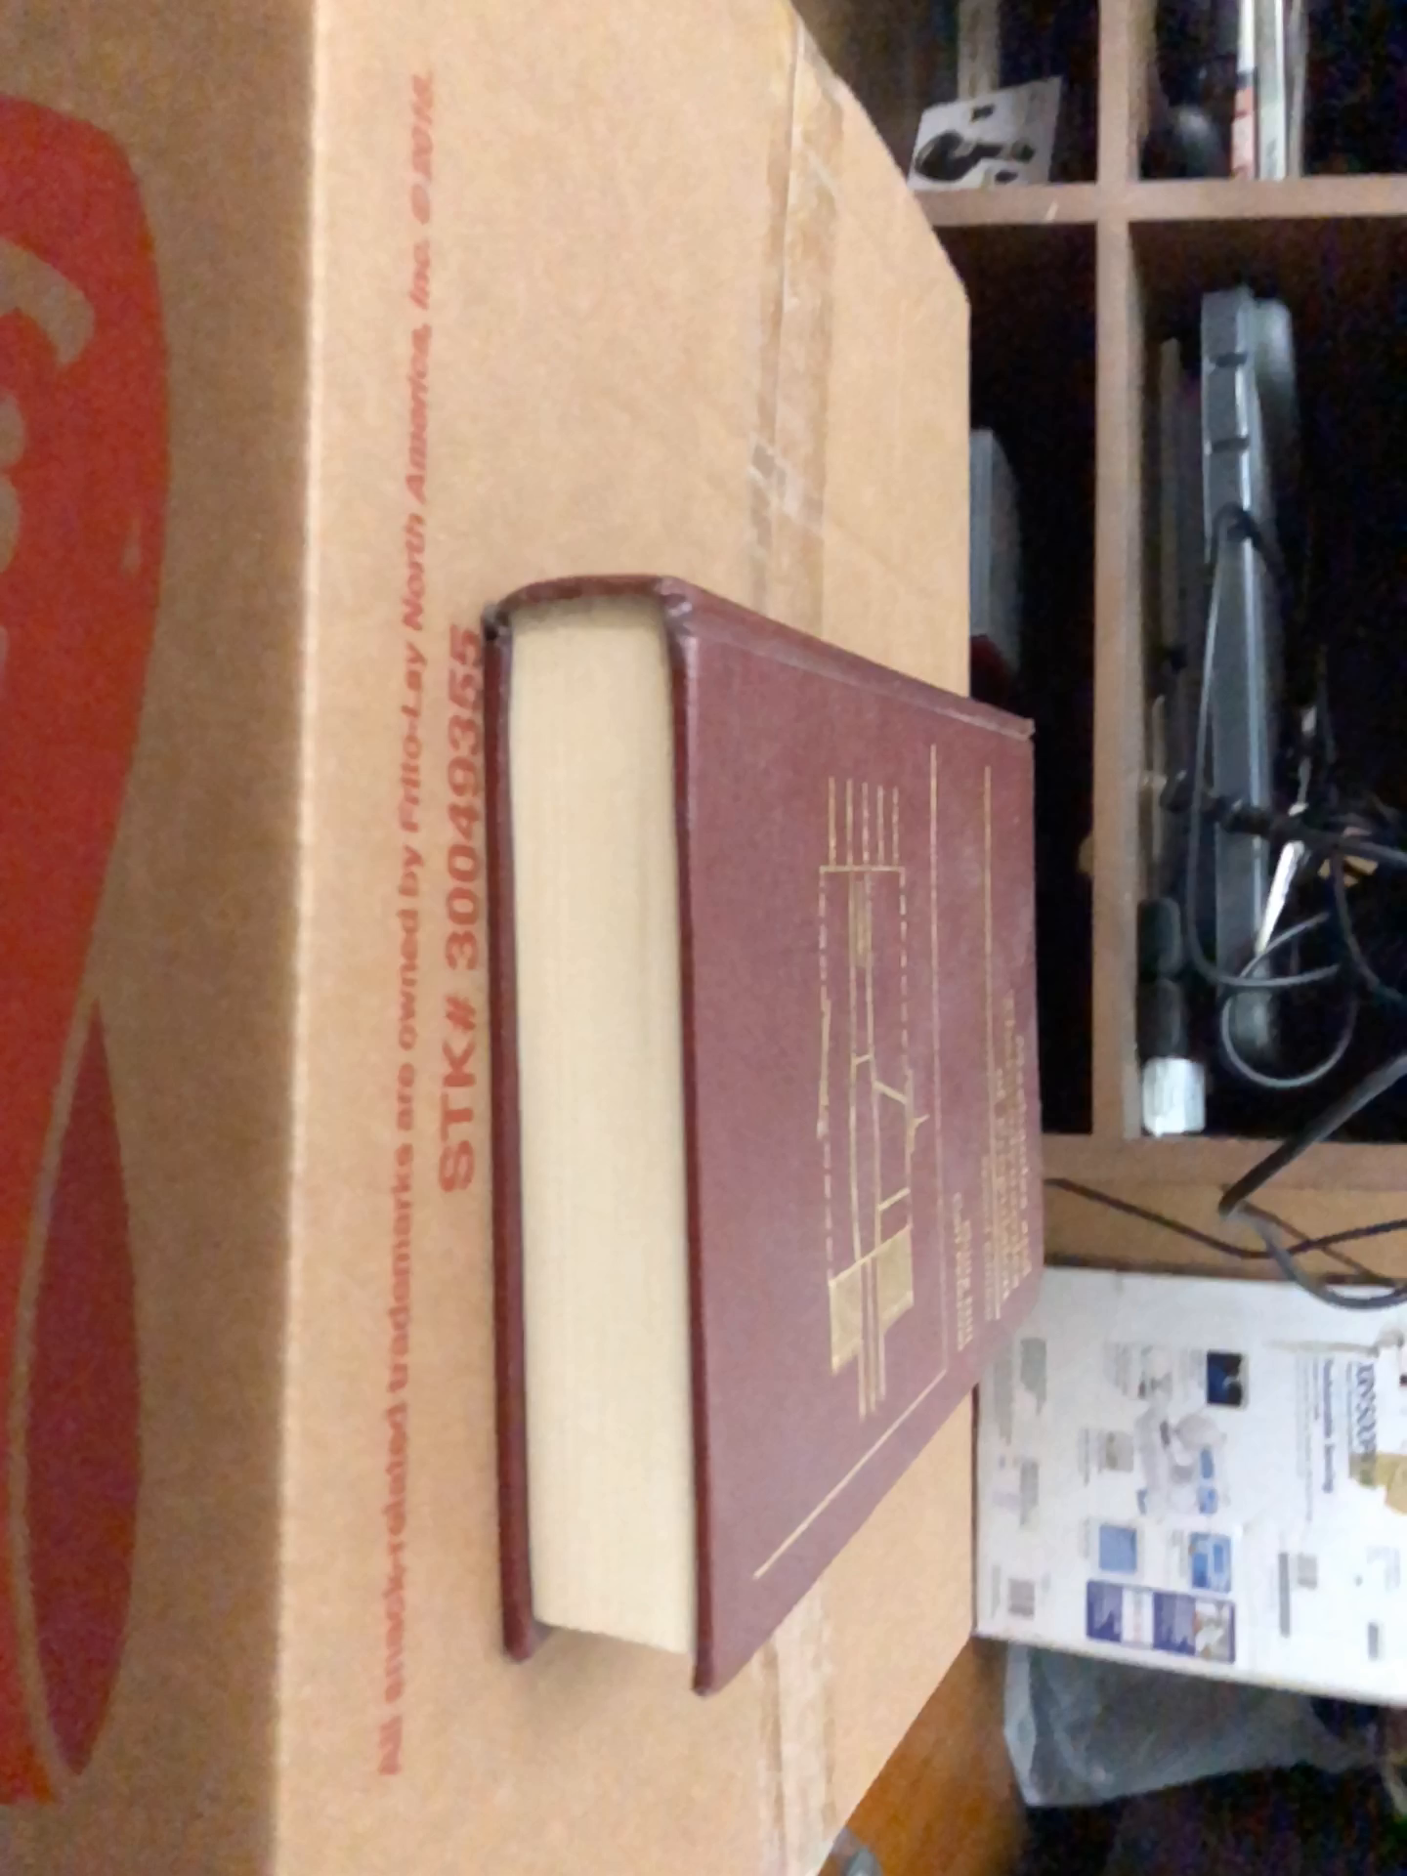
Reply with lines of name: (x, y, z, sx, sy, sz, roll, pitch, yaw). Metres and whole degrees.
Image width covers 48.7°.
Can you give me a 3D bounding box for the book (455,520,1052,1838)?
book: (0.031, 0.033, 0.342, 0.241, 0.040, 0.190, -2, 91, -66)
